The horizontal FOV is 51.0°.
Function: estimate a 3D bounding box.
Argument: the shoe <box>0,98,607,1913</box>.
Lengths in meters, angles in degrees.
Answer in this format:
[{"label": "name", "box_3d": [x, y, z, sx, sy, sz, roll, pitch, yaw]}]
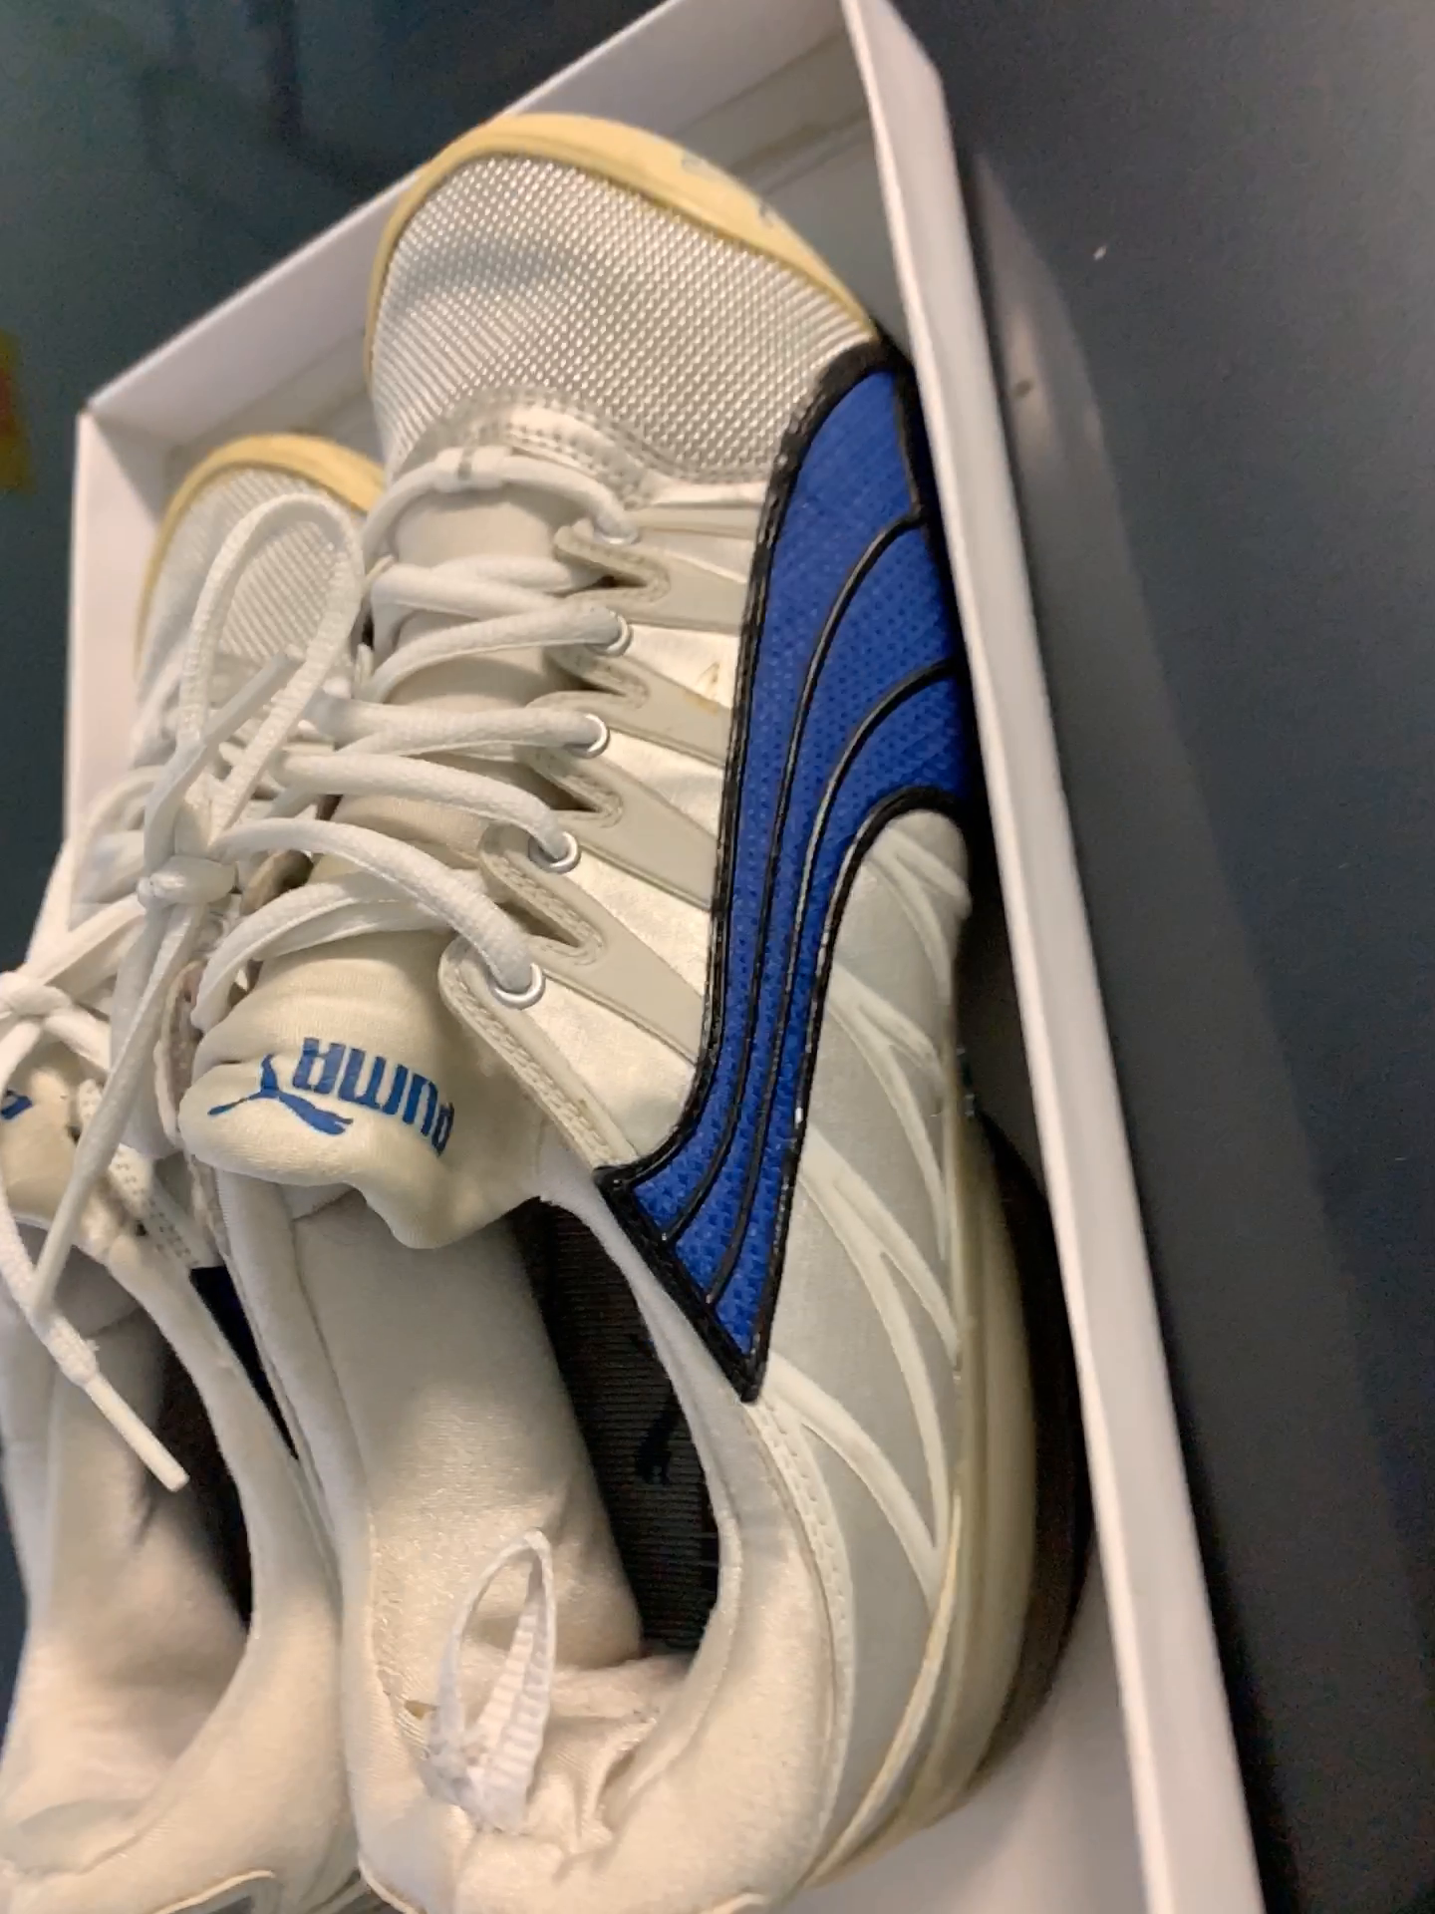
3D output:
[{"label": "shoe", "box_3d": [-0.093, 0.009, 0.263, 0.110, 0.089, 0.282, -18, 62, 30]}]

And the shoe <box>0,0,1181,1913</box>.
[{"label": "shoe", "box_3d": [-0.019, -0.018, 0.215, 0.110, 0.089, 0.281, -15, 63, 32]}]
